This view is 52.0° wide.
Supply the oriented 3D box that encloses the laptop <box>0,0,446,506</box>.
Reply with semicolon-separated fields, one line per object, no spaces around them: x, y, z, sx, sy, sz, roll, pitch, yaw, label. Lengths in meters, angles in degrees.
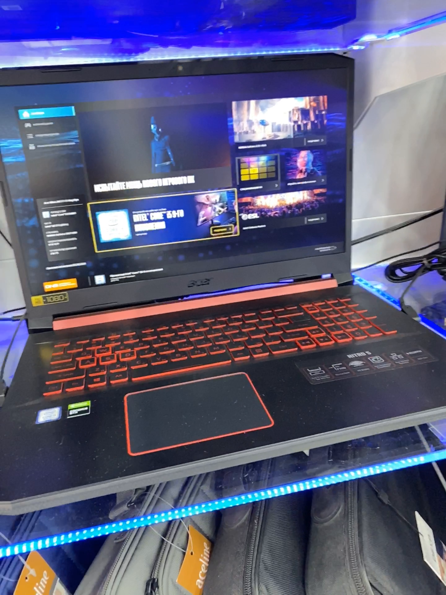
-0.003;-0.075;0.402;0.406;0.267;0.285;-8;21;-12;laptop
